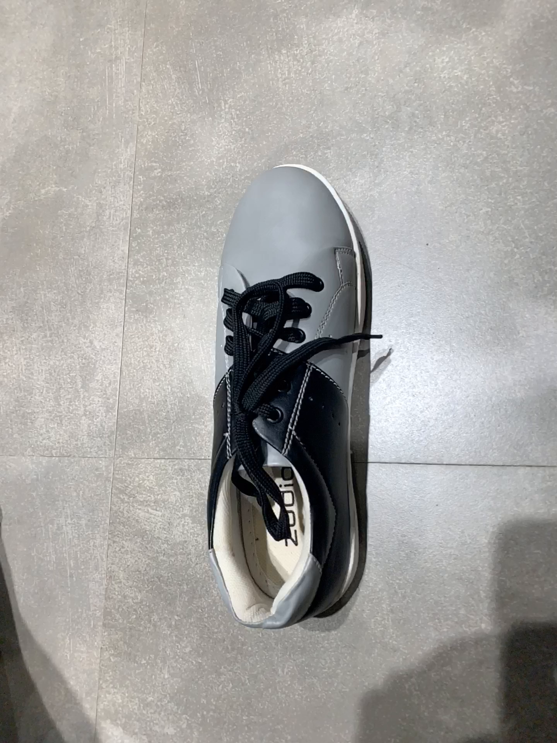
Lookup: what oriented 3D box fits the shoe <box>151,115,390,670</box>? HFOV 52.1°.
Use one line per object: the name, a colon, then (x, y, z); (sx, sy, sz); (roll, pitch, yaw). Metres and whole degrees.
shoe: (0.003, 0.009, 0.327); (0.101, 0.093, 0.263); (-3, 79, 20)
